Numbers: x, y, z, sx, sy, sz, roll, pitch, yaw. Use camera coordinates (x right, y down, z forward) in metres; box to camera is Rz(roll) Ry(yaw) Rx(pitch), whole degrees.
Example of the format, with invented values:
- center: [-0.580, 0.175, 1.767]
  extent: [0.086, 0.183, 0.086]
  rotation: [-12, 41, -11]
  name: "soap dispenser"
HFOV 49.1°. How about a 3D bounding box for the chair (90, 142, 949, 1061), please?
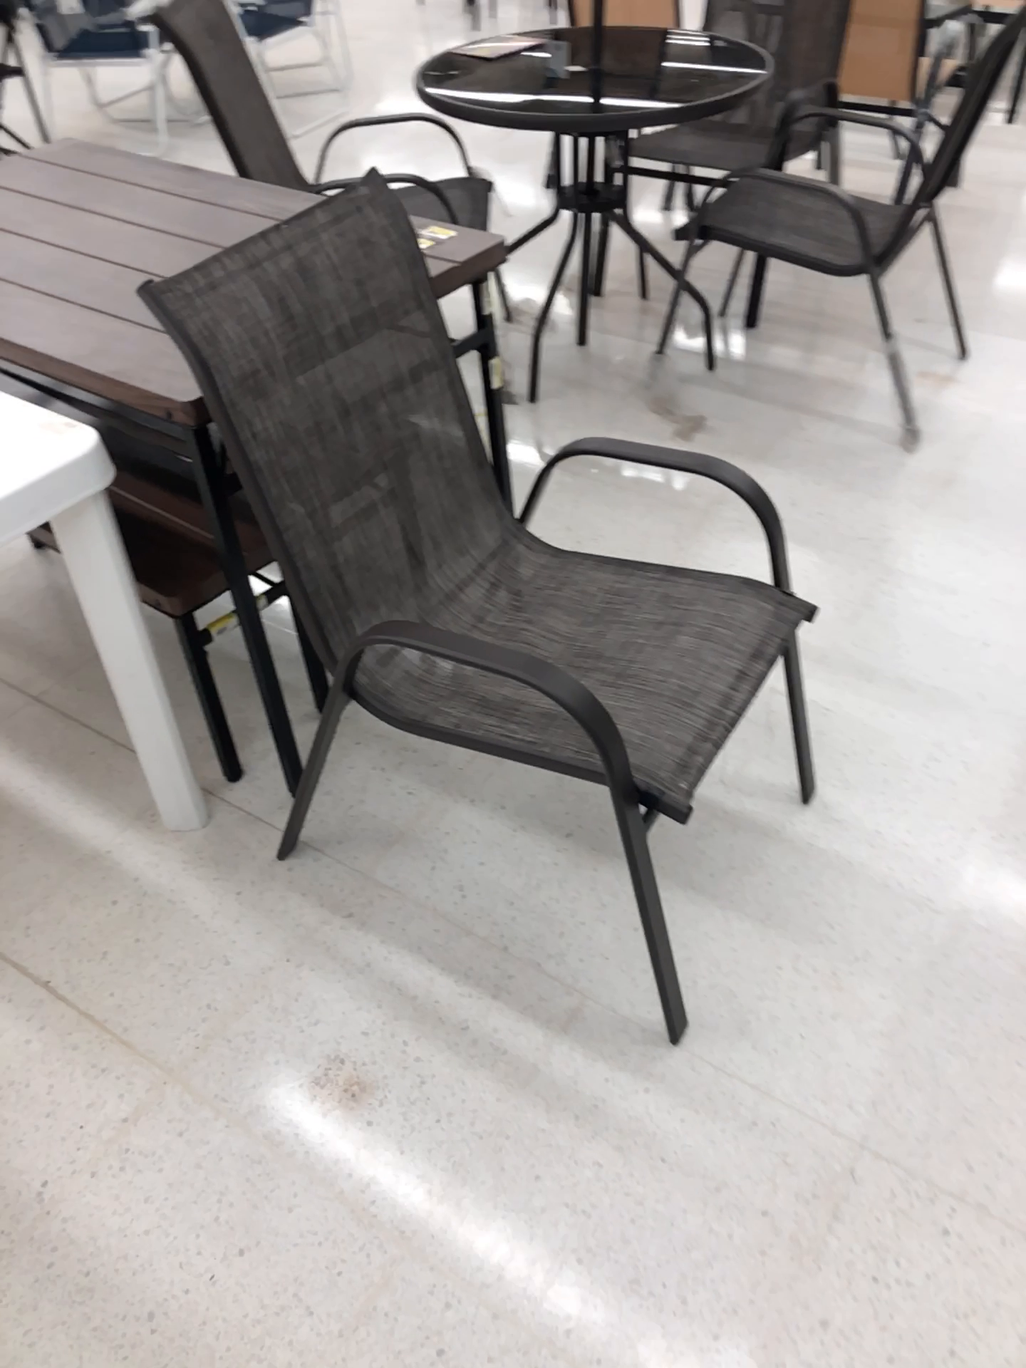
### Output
- center: [0.044, -0.134, 1.476]
  extent: [0.711, 0.854, 0.603]
  rotation: [20, 46, 25]
  name: "chair"
